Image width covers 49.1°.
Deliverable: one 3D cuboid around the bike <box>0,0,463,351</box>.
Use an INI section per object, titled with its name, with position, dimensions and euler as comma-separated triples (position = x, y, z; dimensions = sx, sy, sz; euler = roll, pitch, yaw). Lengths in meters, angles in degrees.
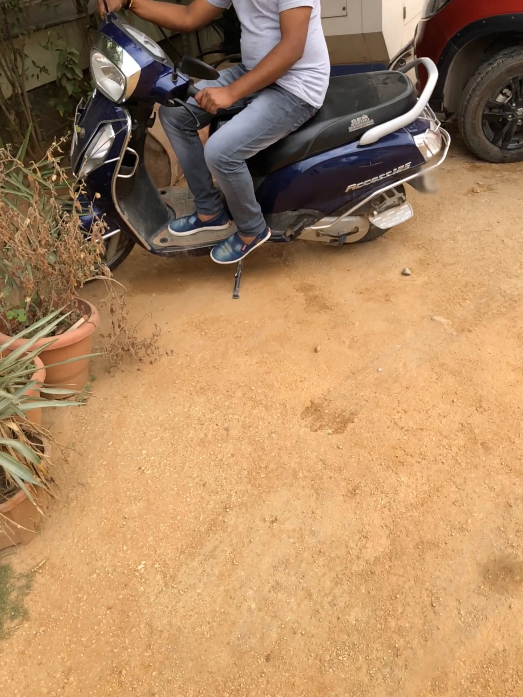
[bike]
position = -0.148, -0.783, 2.352
dimensions = 1.621, 1.222, 0.590
euler = -11, 36, -5
